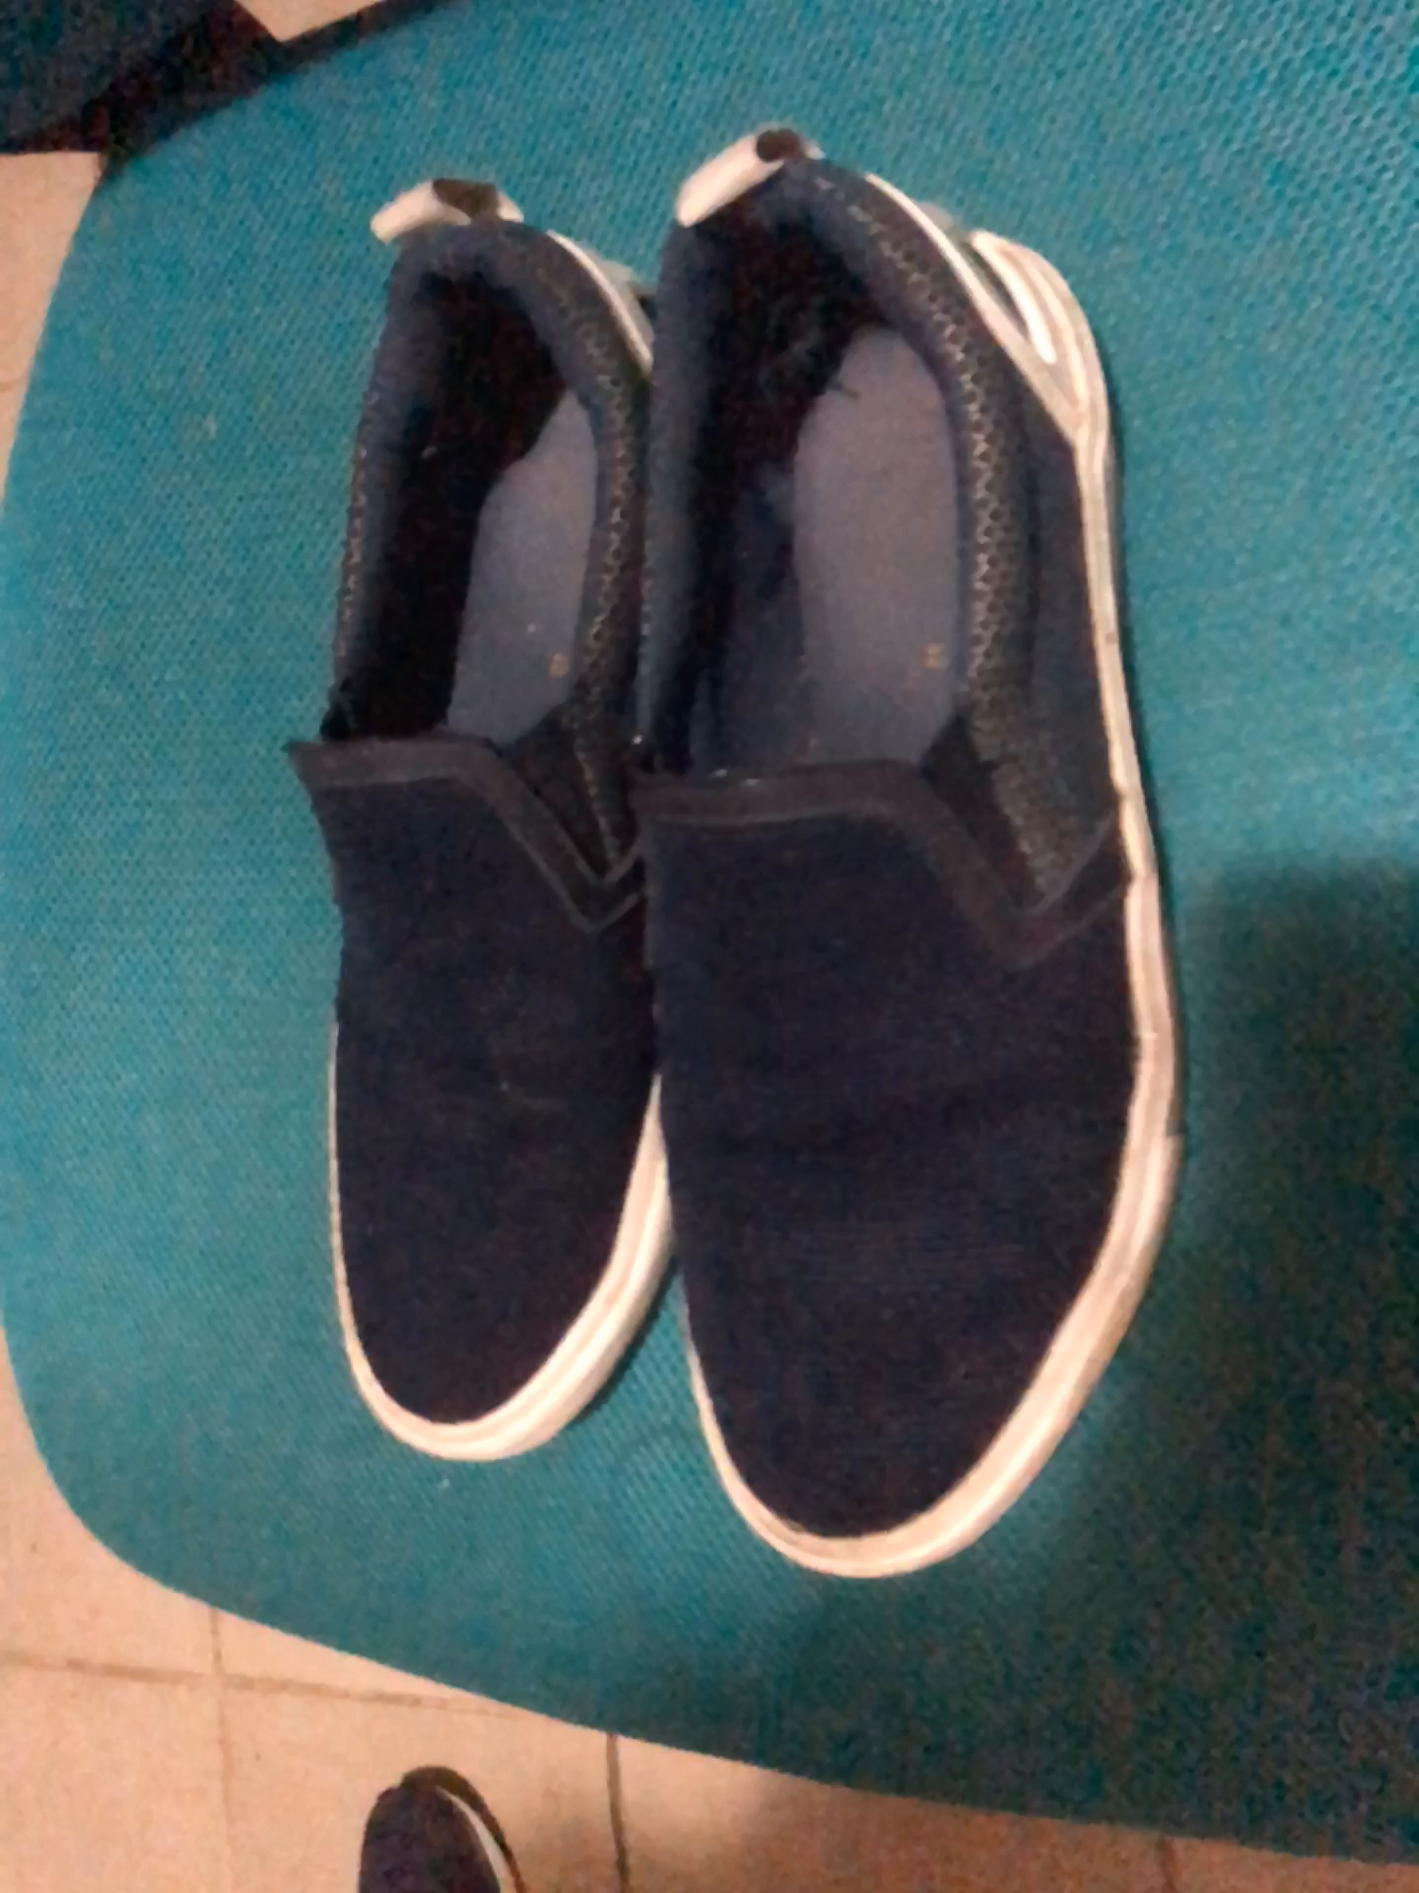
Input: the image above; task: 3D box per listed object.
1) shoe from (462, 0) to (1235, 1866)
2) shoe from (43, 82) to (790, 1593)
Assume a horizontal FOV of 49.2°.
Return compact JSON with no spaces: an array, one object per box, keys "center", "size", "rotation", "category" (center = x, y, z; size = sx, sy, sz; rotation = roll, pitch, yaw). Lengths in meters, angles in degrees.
[{"center":[0.034,-0.005,0.313],"size":[0.120,0.110,0.290],"rotation":[-1,88,28],"category":"shoe"},{"center":[-0.065,-0.022,0.374],"size":[0.120,0.110,0.290],"rotation":[2,89,28],"category":"shoe"}]
